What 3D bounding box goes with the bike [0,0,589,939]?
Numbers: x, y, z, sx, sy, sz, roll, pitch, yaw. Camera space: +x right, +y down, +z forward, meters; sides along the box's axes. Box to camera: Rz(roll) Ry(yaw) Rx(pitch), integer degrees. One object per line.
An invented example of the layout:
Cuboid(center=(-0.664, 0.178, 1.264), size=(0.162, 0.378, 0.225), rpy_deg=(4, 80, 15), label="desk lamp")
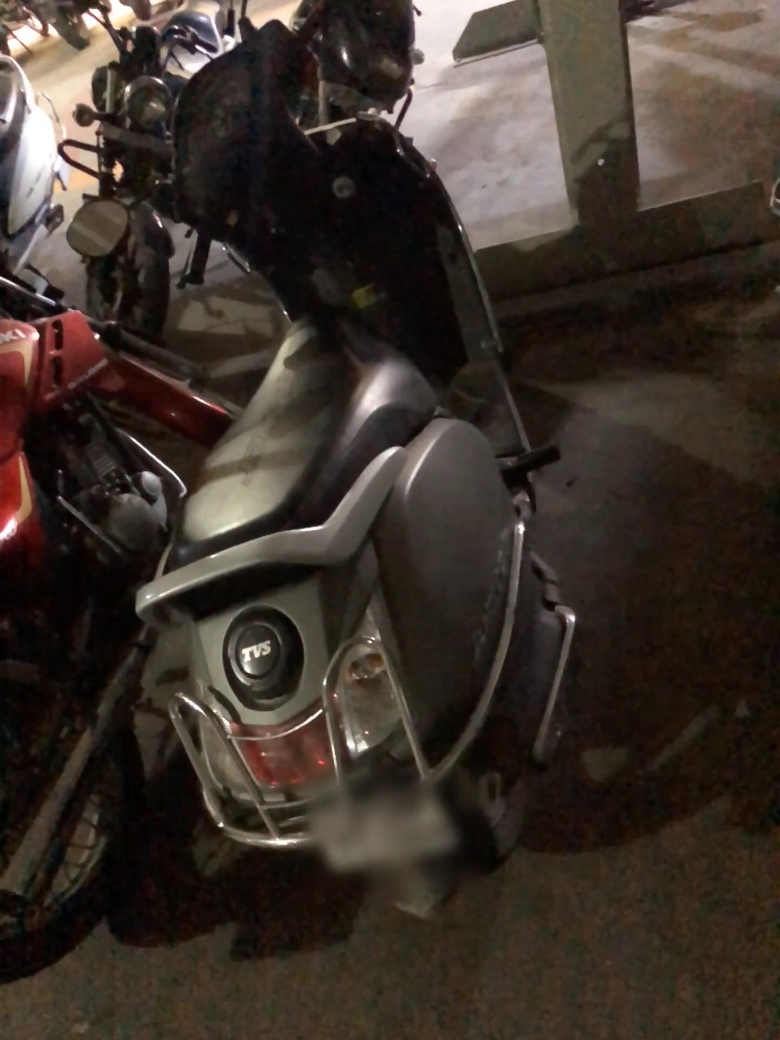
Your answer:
Cuboid(center=(-0.102, -0.178, 1.581), size=(0.602, 1.094, 1.387), rpy_deg=(-11, 43, 12), label="bike")
